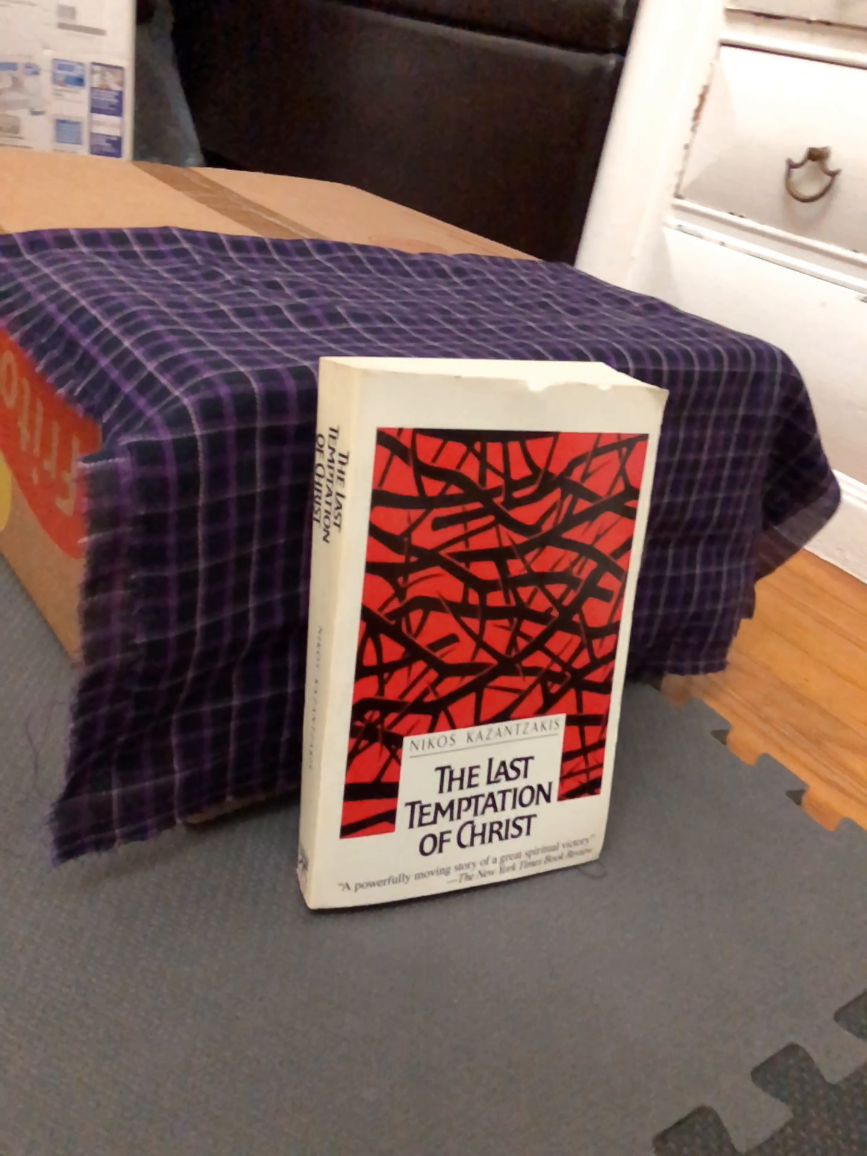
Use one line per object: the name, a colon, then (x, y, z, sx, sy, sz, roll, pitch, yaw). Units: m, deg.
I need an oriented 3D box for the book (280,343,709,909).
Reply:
book: (0.018, 0.017, 0.383, 0.150, 0.209, 0.050, -4, 20, -19)
